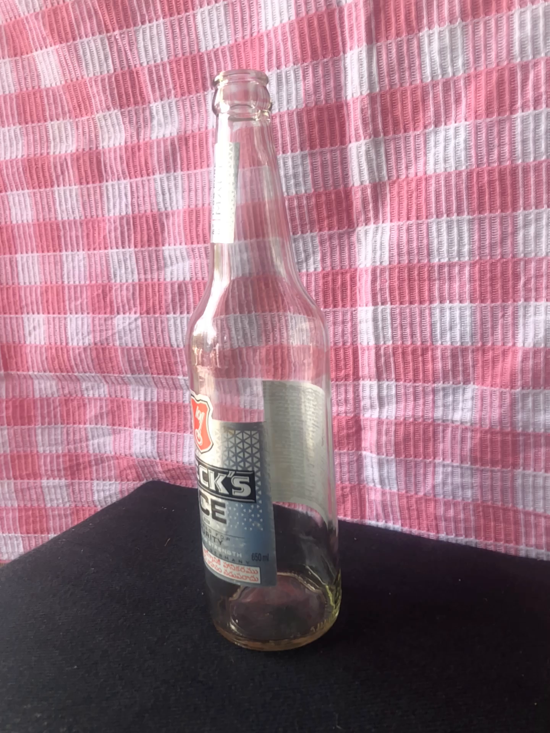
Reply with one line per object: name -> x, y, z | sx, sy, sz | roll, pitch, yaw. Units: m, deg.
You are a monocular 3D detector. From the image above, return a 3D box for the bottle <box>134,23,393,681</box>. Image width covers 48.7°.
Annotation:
bottle -> -0.004, -0.004, 0.298 | 0.080, 0.269, 0.090 | -10, 15, -25
